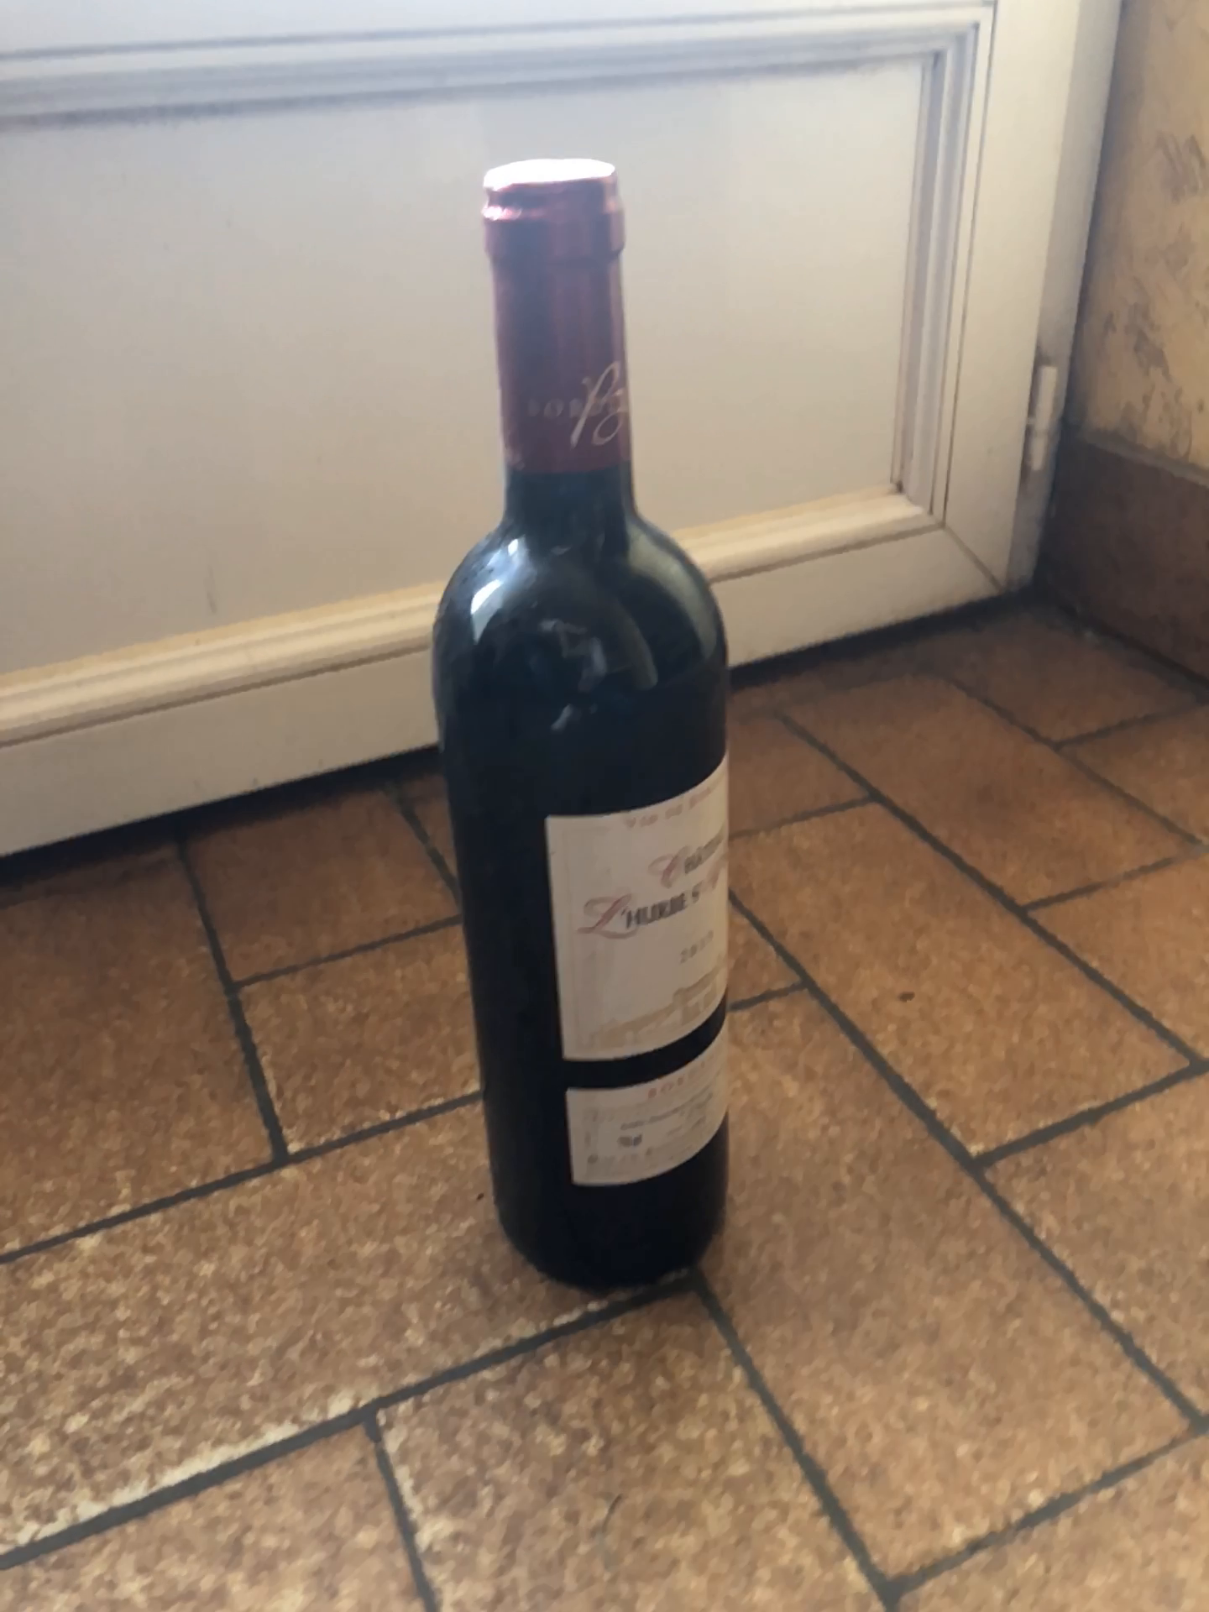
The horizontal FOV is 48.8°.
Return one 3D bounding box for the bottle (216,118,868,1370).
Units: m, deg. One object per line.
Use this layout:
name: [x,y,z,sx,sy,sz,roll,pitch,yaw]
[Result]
bottle: [-0.005,-0.006,0.335,0.090,0.288,0.091,-2,32,1]
